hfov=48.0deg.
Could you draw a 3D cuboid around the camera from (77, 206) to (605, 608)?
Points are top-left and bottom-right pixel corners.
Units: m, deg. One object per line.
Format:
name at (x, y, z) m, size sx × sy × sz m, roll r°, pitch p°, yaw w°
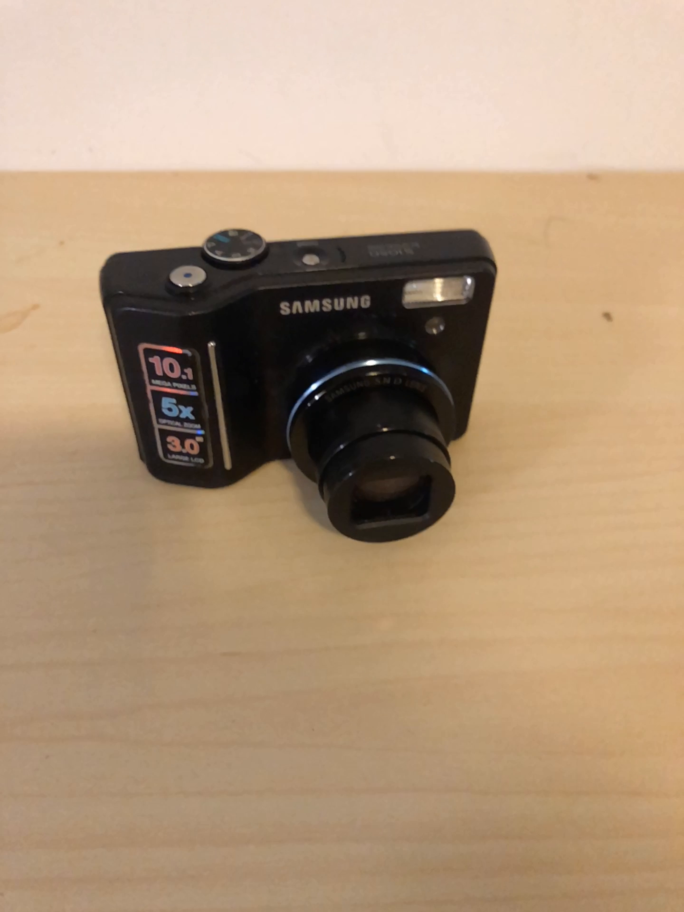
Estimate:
camera at (-0.004, -0.014, 0.208) m, size 0.110 × 0.070 × 0.070 m, roll -6°, pitch 48°, yaw -6°
